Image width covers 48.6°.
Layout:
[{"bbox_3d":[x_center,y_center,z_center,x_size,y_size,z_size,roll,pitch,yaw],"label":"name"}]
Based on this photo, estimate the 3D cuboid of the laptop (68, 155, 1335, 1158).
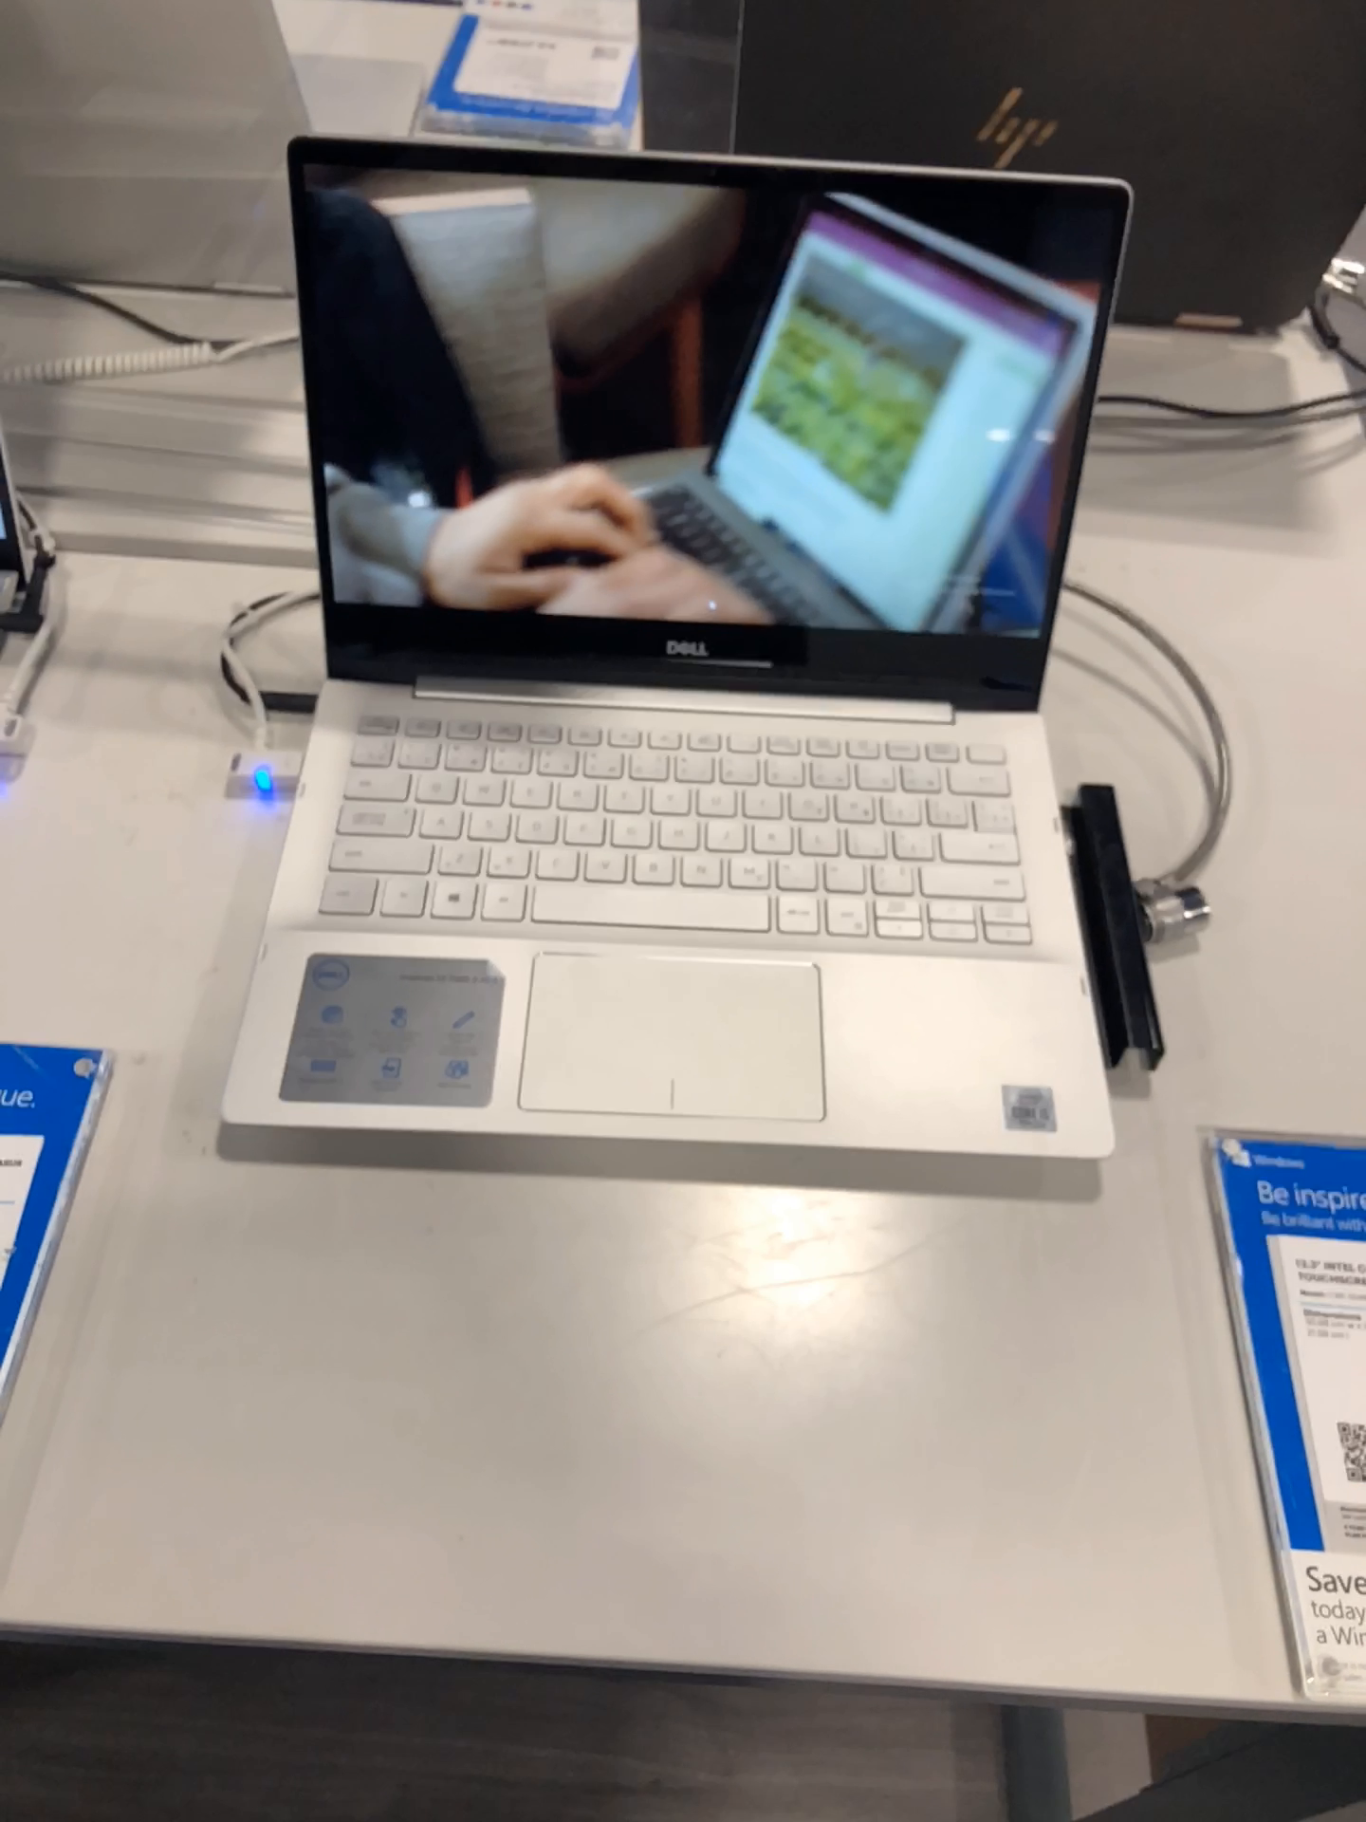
[{"bbox_3d":[0.002,-0.086,0.498,0.285,0.186,0.265,3,52,-1],"label":"laptop"}]
